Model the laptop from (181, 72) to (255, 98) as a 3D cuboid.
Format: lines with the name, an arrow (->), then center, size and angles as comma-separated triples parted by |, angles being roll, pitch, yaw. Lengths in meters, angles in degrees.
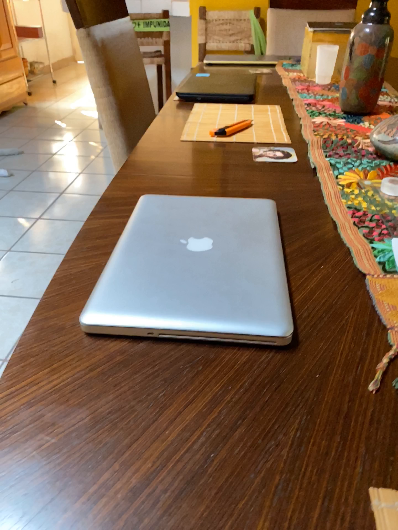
laptop -> 0.082, -0.680, 1.533 | 0.254, 0.012, 0.303 | 5, 36, 3

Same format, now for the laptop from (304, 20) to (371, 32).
laptop -> 0.538, -0.949, 1.619 | 0.214, 0.011, 0.310 | 4, 36, 10

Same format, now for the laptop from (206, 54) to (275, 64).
laptop -> 0.217, -1.098, 2.172 | 0.343, 0.004, 0.321 | 0, 34, 2

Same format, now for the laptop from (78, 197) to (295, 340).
laptop -> -0.001, -0.020, 0.567 | 0.232, 0.002, 0.326 | 3, 34, 4
